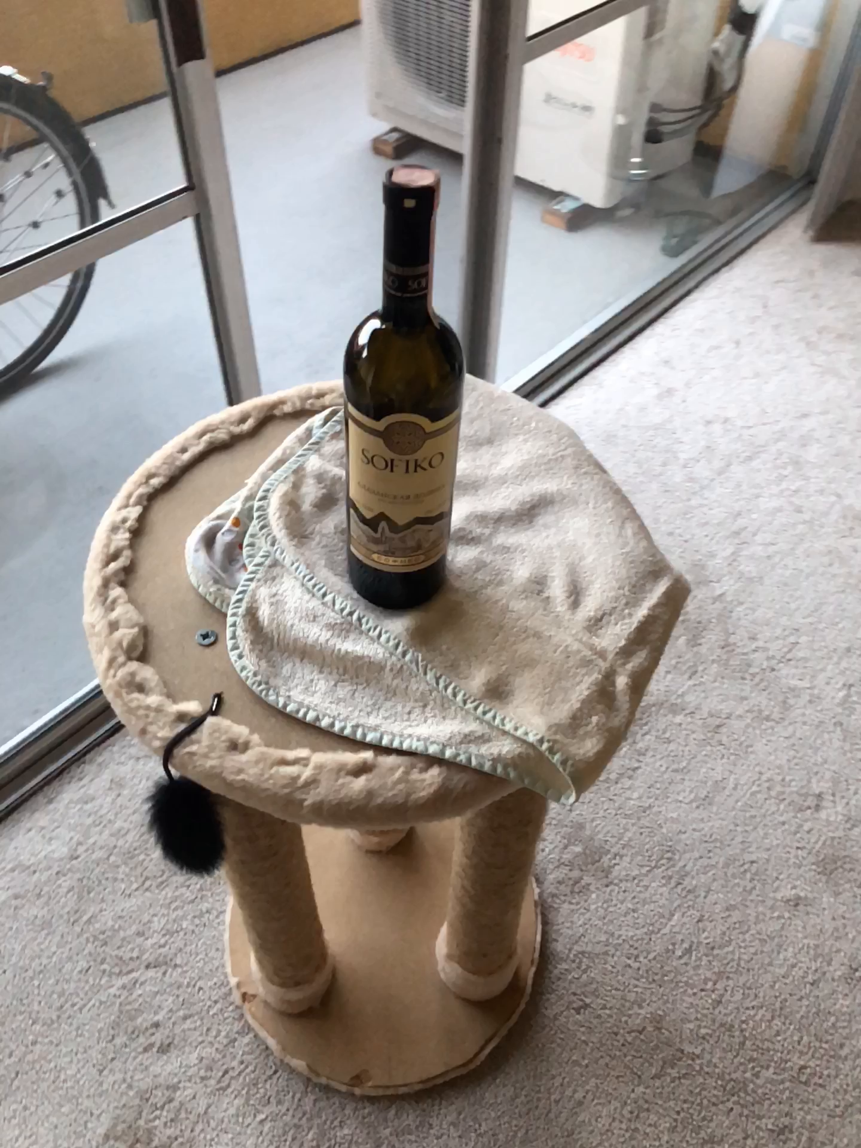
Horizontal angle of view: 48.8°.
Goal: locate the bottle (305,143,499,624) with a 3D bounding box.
[{"bbox_3d":[-0.014,-0.089,0.536,0.080,0.269,0.080,1,50,-1],"label":"bottle"}]
